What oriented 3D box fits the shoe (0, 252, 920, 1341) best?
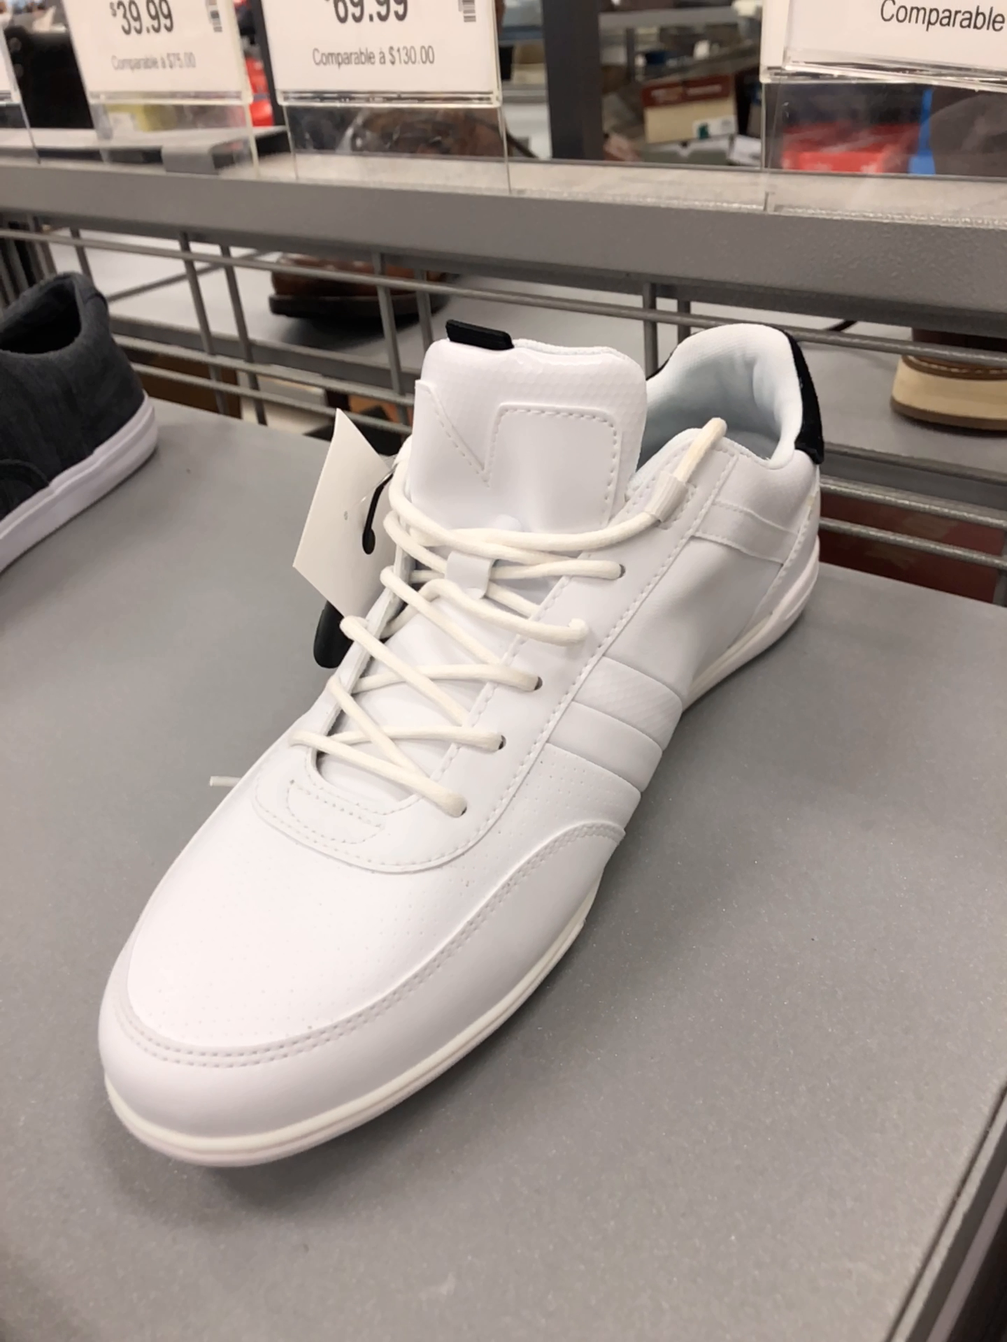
[{"bbox_3d":[0.003,-0.008,0.284,0.110,0.119,0.271,16,39,30],"label":"shoe"}]
